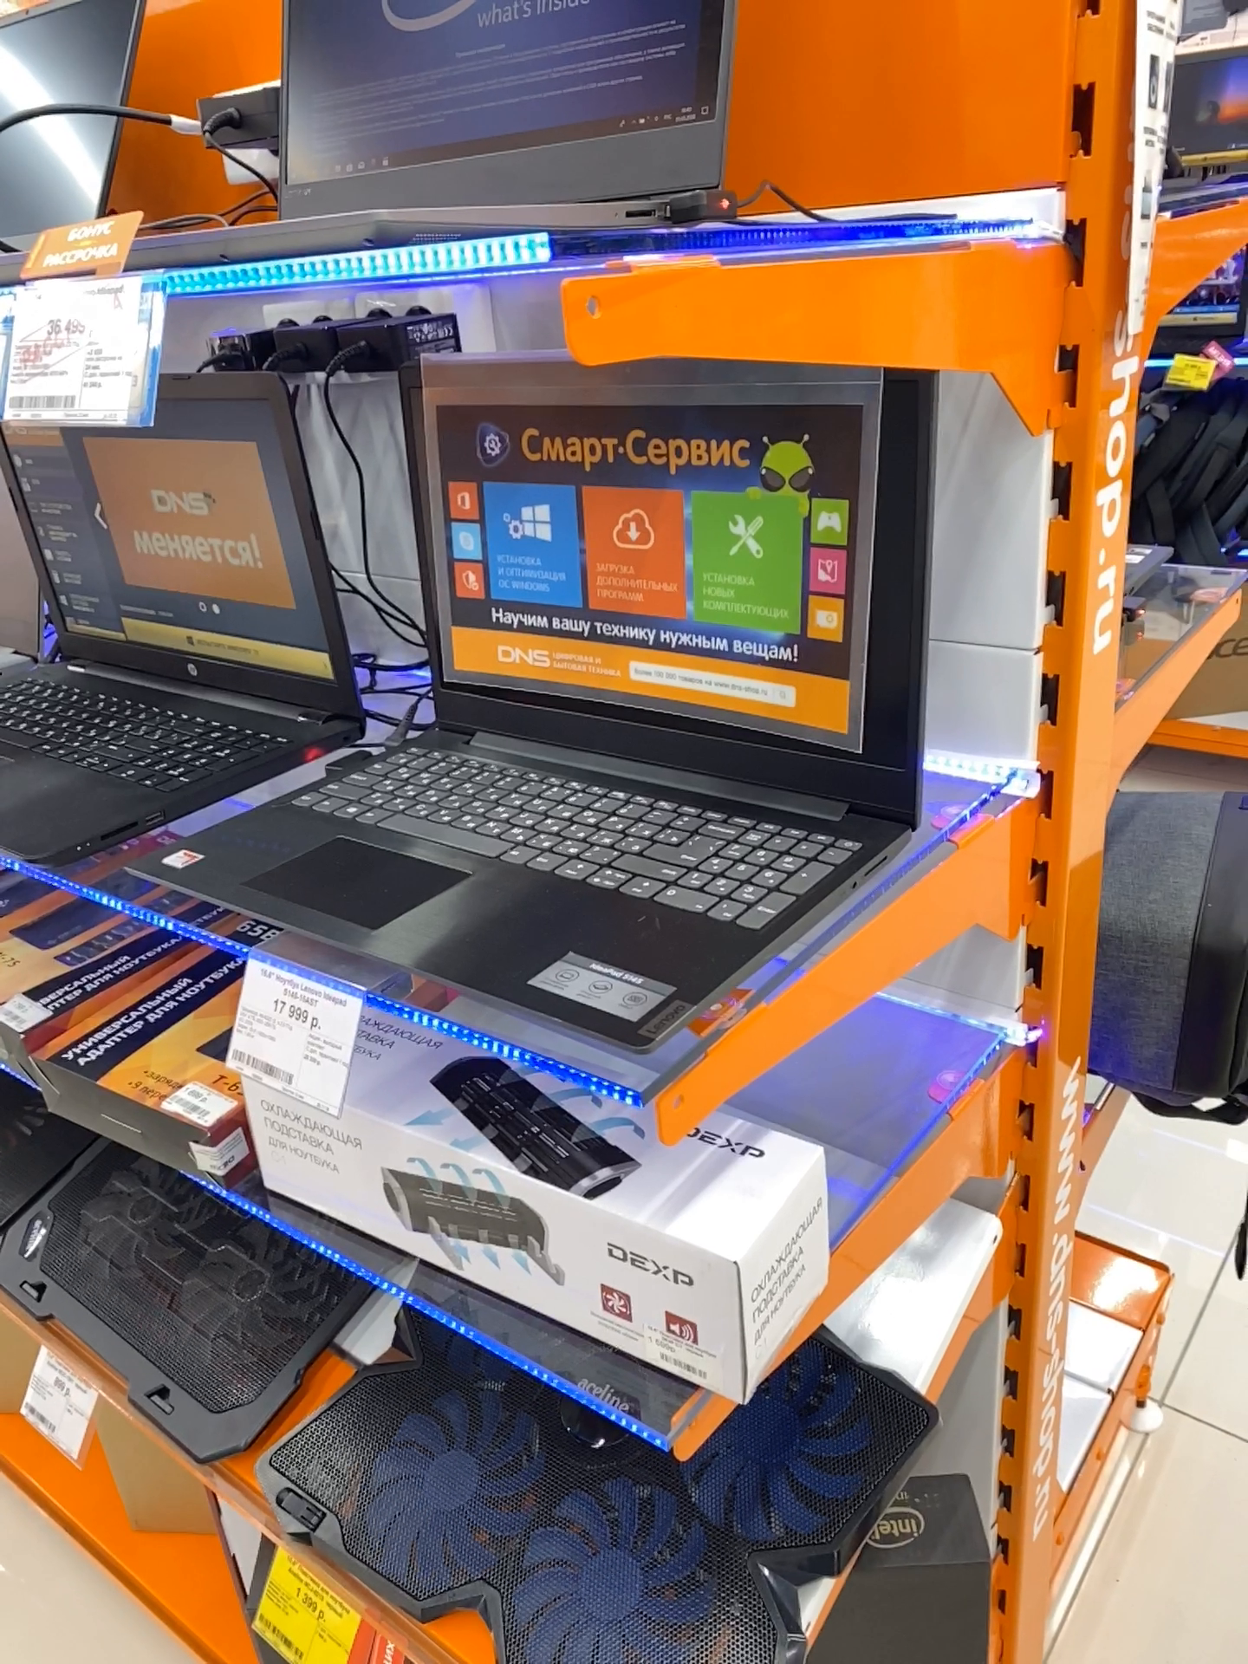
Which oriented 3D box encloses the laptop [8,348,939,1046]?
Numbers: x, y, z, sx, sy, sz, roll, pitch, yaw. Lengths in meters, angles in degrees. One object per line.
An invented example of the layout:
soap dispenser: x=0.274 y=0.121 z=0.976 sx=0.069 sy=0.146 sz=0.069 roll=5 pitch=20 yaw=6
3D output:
laptop: x=-0.065 y=-0.103 z=0.653 sx=0.358 sy=0.236 sz=0.266 roll=12 pitch=29 yaw=35
